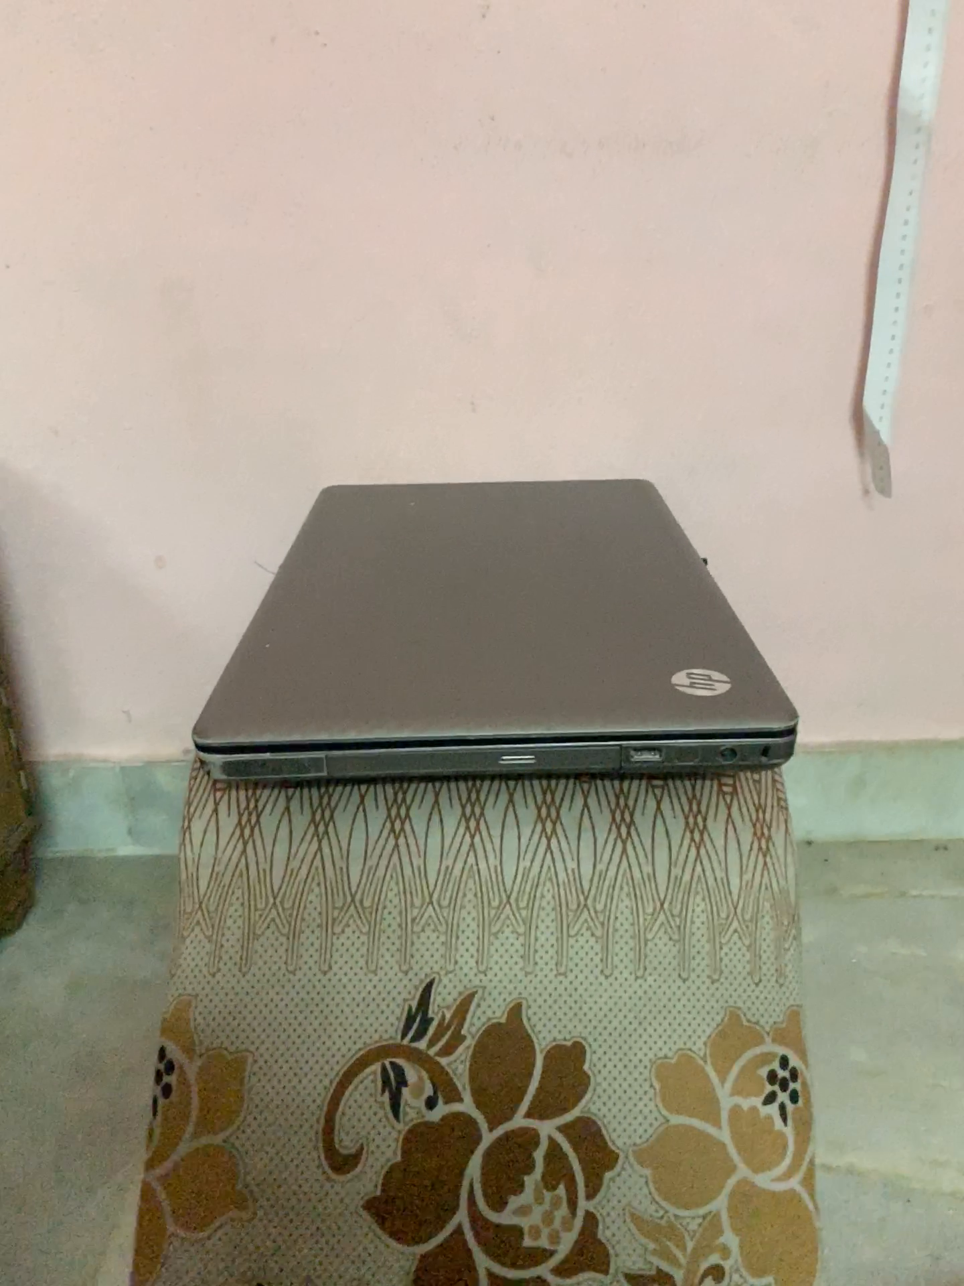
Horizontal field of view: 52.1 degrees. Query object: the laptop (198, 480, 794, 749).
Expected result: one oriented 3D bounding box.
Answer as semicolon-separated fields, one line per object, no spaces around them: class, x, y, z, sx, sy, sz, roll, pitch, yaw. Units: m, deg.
laptop;0.005;-0.040;0.584;0.249;0.002;0.381;-1;25;0
